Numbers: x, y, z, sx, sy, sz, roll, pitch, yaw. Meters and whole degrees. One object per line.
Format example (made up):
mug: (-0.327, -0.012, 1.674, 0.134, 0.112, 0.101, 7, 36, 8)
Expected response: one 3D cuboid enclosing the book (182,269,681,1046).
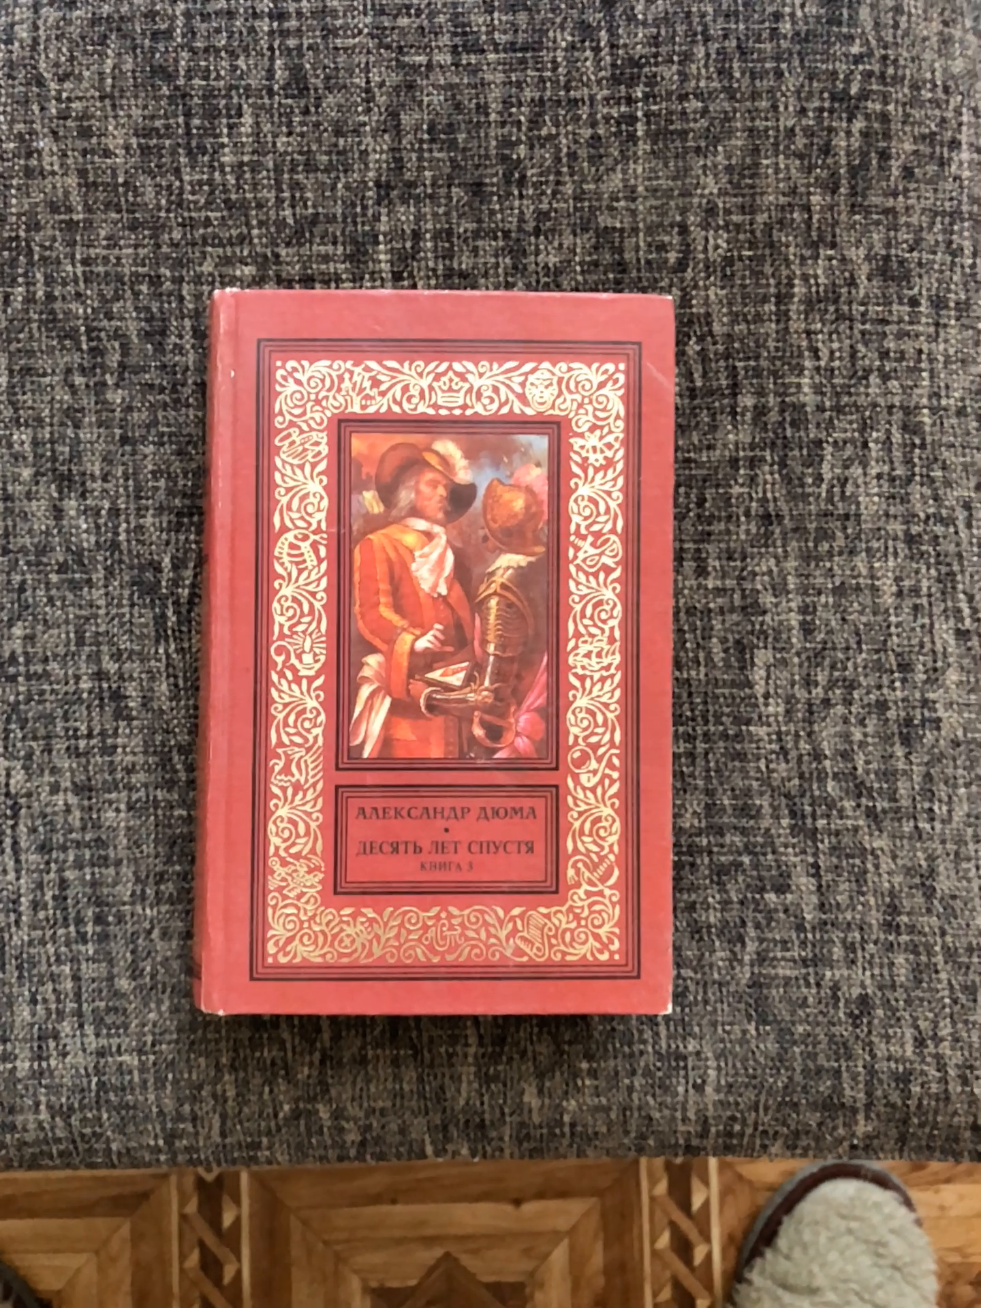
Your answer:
book: (-0.015, 0.000, 0.308, 0.131, 0.038, 0.206, 0, 88, 0)
